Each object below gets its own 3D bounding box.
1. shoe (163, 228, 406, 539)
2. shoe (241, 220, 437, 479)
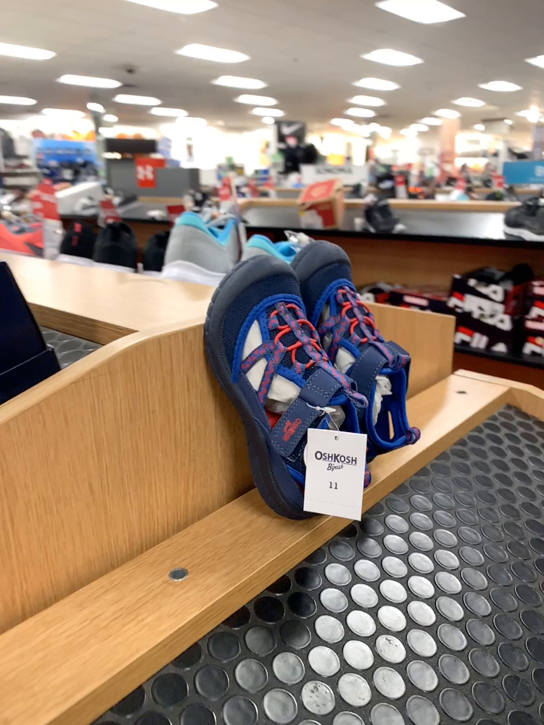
[{"bbox_3d":[0.008,0.015,0.405,0.080,0.190,0.100,-18,3,-43],"label":"shoe"},{"bbox_3d":[0.056,-0.010,0.467,0.080,0.190,0.080,-14,4,45],"label":"shoe"}]
